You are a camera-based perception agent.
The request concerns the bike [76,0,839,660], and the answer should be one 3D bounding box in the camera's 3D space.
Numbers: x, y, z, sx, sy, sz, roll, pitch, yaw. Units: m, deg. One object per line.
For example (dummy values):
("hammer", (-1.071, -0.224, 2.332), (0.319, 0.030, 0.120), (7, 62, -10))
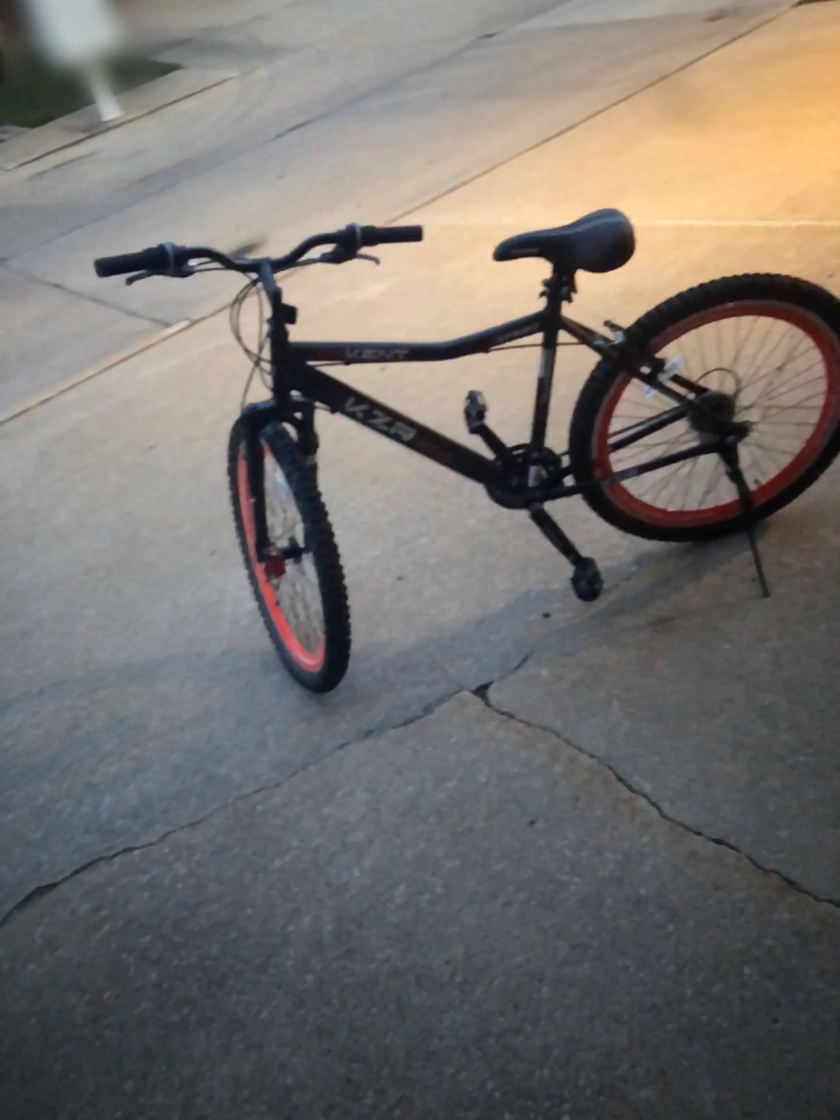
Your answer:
("bike", (0.199, -0.426, 1.973), (1.426, 1.031, 0.600), (-9, 36, 12))
